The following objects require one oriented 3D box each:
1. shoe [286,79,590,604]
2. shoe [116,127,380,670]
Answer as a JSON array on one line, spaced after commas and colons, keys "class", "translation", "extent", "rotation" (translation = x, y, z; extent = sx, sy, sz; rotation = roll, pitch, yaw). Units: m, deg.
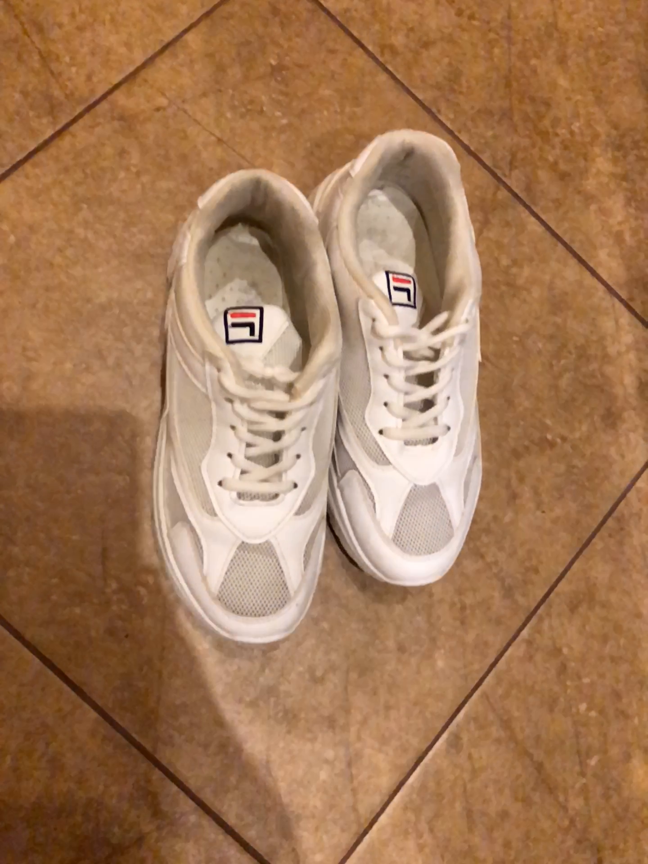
[{"class": "shoe", "translation": [0.050, -0.043, 0.395], "extent": [0.110, 0.110, 0.250], "rotation": [-3, 82, -12]}, {"class": "shoe", "translation": [-0.046, -0.014, 0.374], "extent": [0.110, 0.110, 0.240], "rotation": [-1, 82, -11]}]
